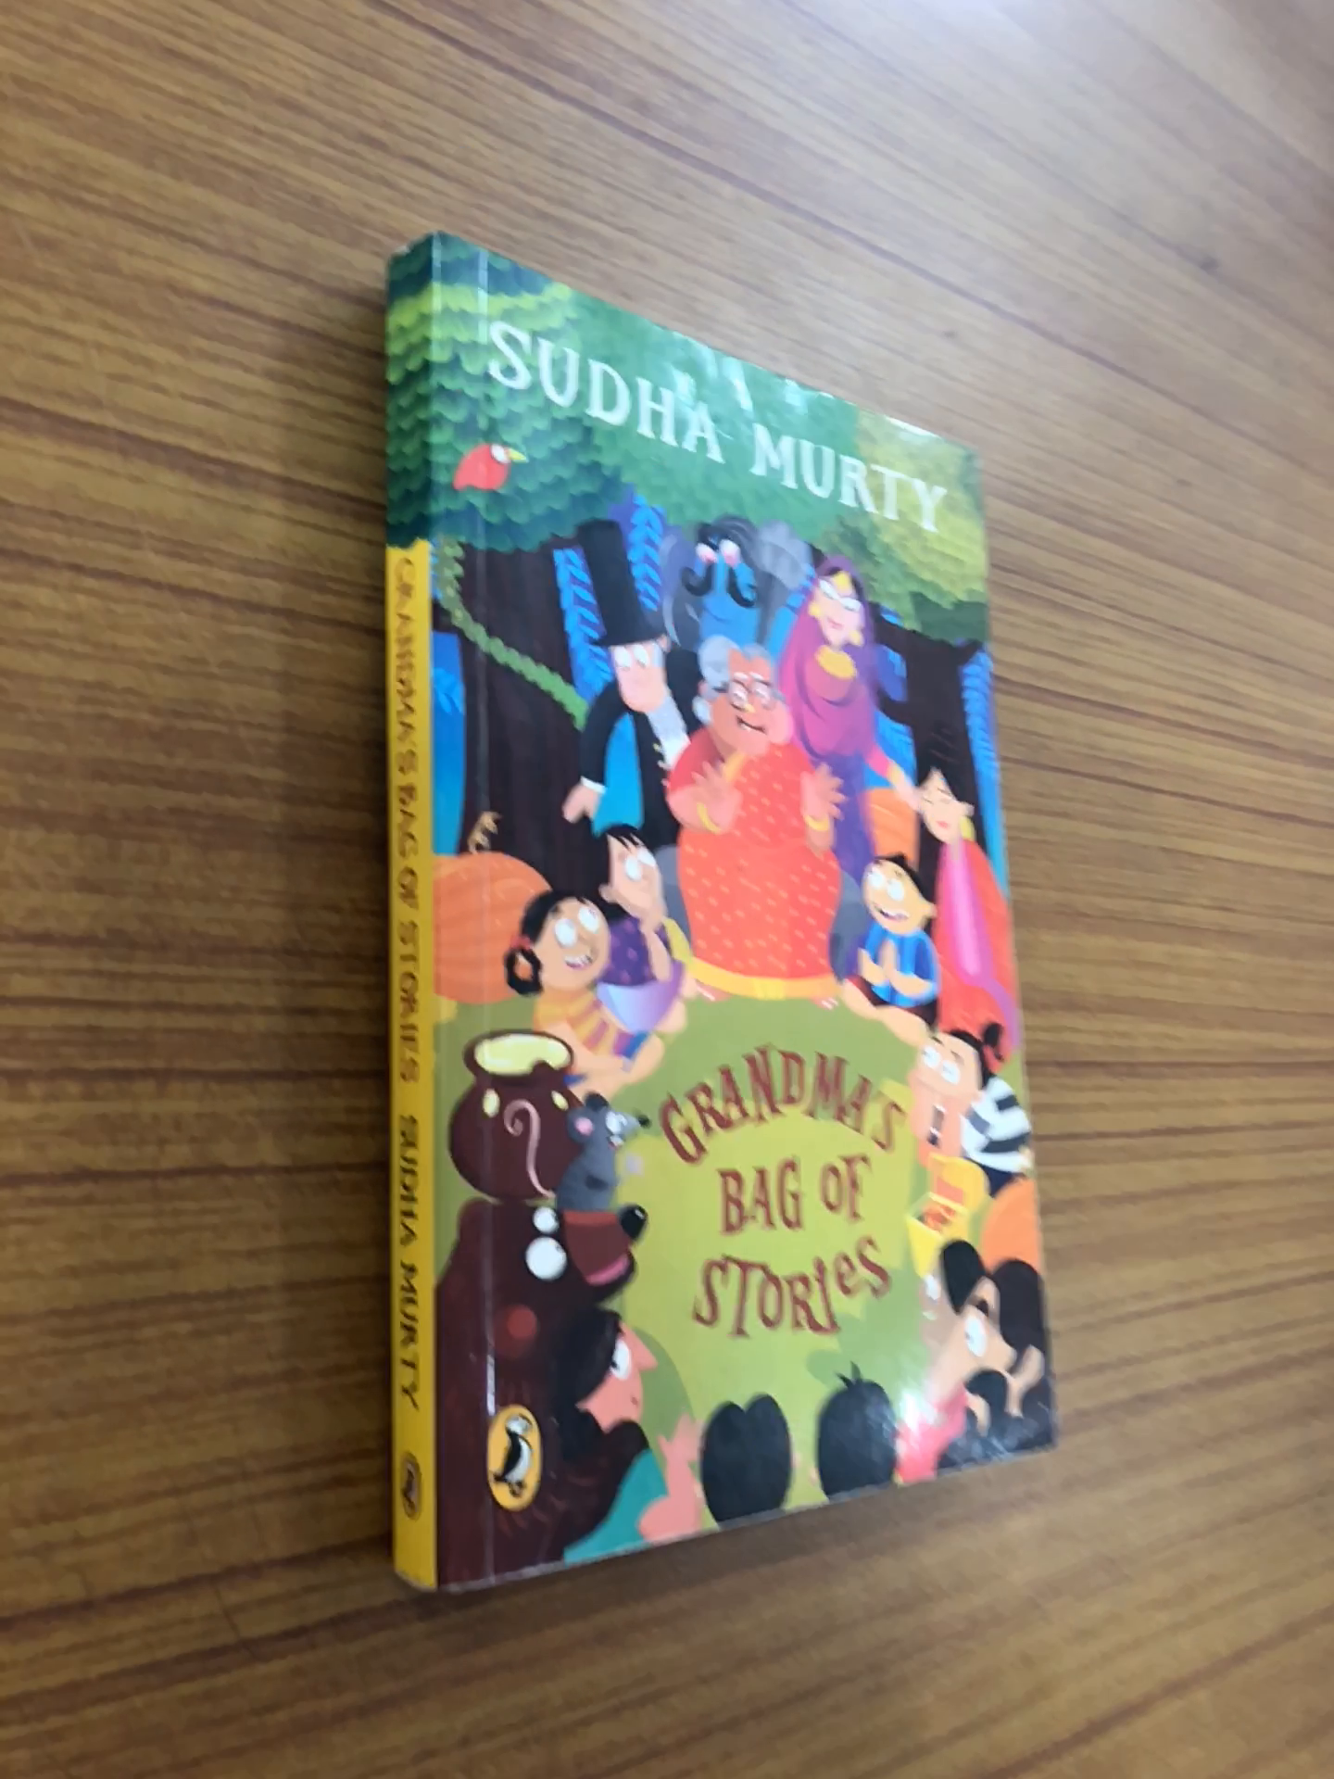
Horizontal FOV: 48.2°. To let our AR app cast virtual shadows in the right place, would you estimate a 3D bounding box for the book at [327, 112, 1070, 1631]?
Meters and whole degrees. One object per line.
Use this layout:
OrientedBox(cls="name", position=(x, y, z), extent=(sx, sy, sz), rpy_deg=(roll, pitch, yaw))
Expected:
OrientedBox(cls="book", position=(0.009, -0.004, 0.256), extent=(0.131, 0.030, 0.210), rpy_deg=(5, 79, -39))
